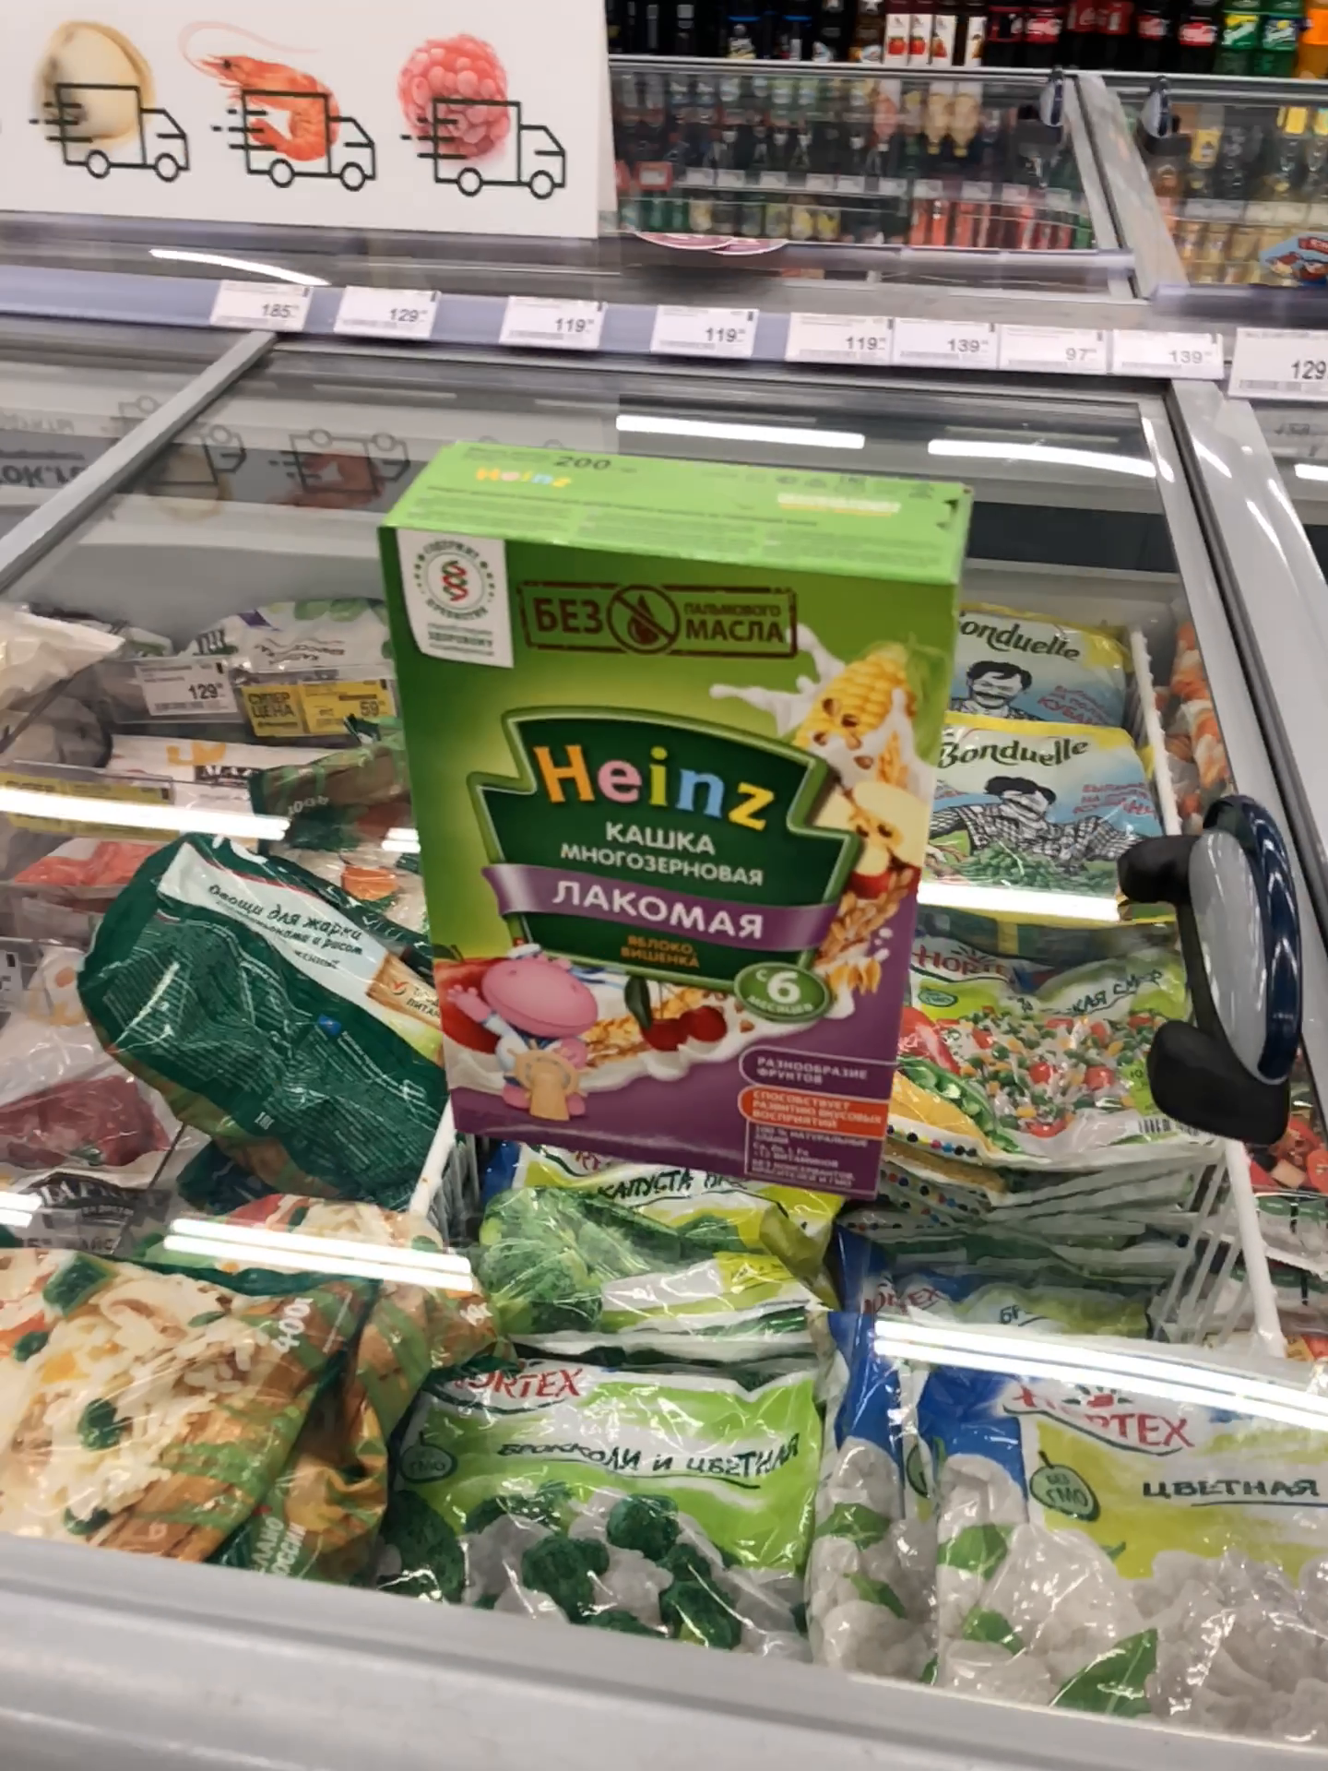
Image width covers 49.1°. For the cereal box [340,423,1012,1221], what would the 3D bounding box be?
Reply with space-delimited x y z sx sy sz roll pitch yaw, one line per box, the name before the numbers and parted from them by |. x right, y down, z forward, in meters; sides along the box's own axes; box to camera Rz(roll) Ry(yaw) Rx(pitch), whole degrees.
cereal box | 0.004 -0.008 0.379 0.140 0.199 0.050 8 39 10
